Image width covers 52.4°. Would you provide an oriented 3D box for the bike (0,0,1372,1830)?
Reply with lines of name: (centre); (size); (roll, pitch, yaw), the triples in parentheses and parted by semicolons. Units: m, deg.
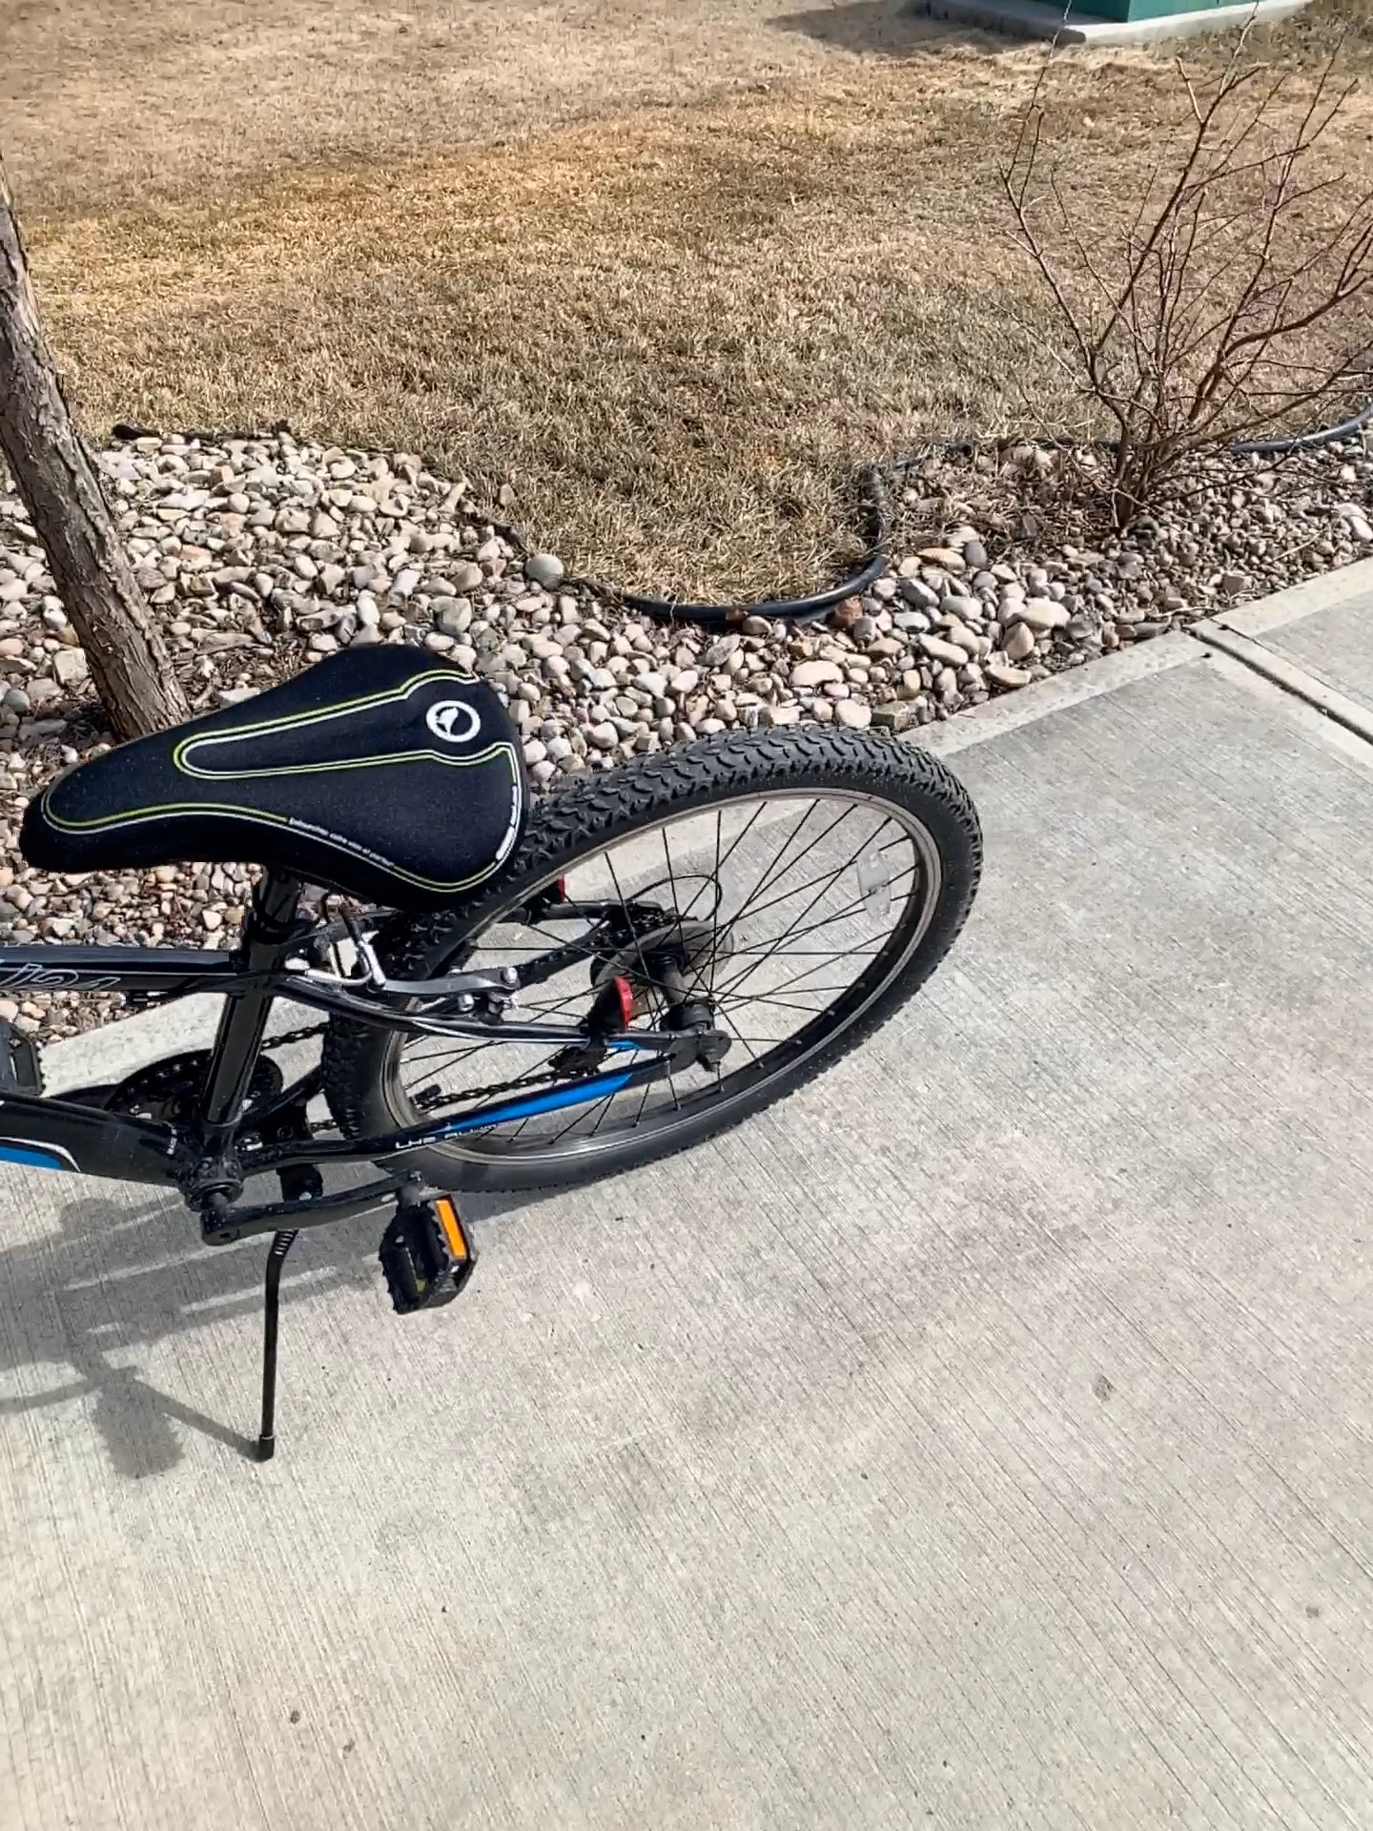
bike: (-0.385, 0.190, 0.830); (1.392, 0.885, 0.516); (-25, 47, -17)
